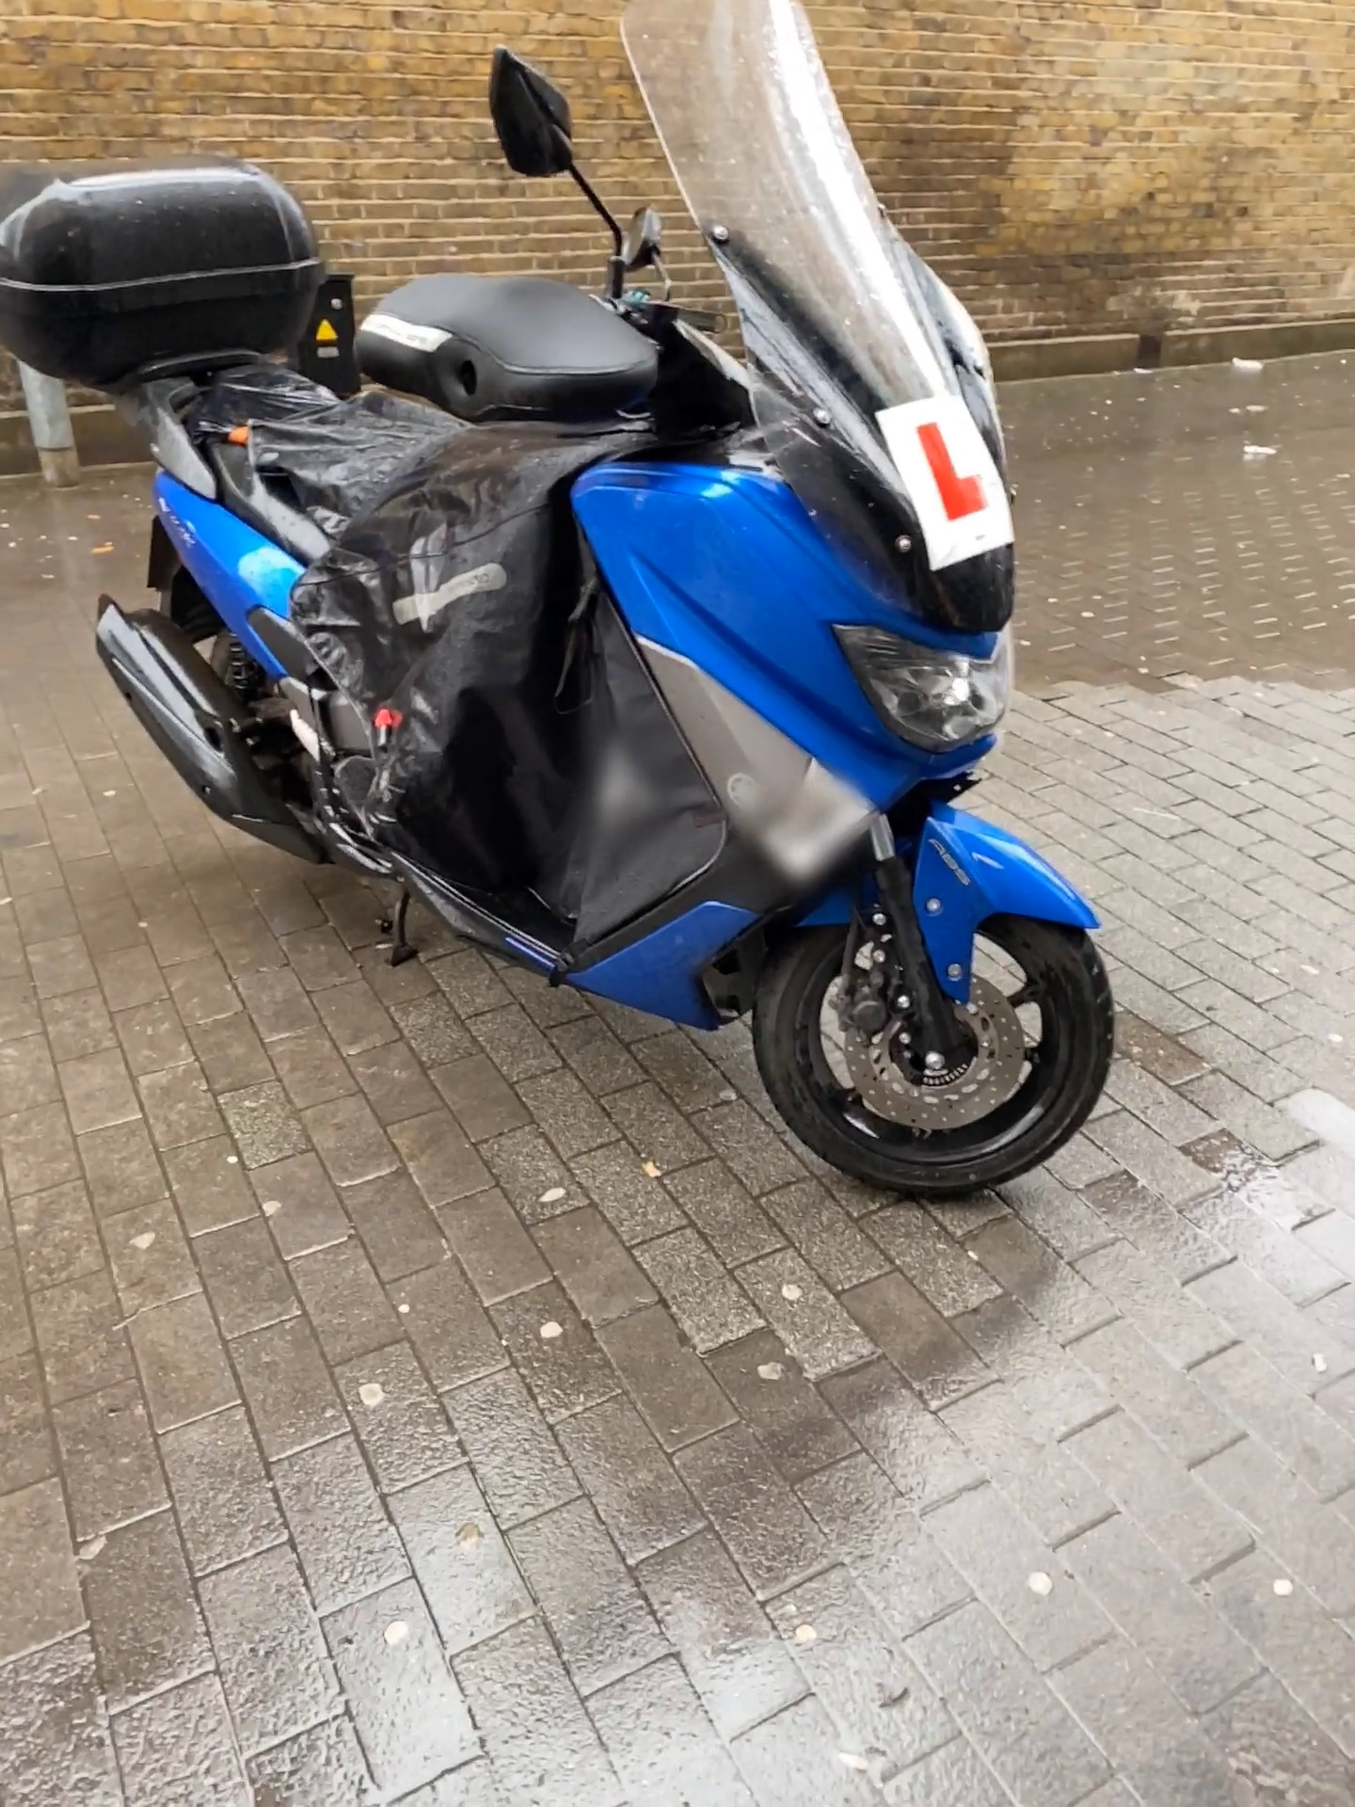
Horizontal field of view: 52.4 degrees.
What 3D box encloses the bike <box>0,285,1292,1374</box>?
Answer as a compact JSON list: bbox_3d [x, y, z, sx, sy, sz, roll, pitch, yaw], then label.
[{"bbox_3d":[-0.212,-0.286,2.024,1.734,0.998,0.680,20,34,32],"label":"bike"}]
